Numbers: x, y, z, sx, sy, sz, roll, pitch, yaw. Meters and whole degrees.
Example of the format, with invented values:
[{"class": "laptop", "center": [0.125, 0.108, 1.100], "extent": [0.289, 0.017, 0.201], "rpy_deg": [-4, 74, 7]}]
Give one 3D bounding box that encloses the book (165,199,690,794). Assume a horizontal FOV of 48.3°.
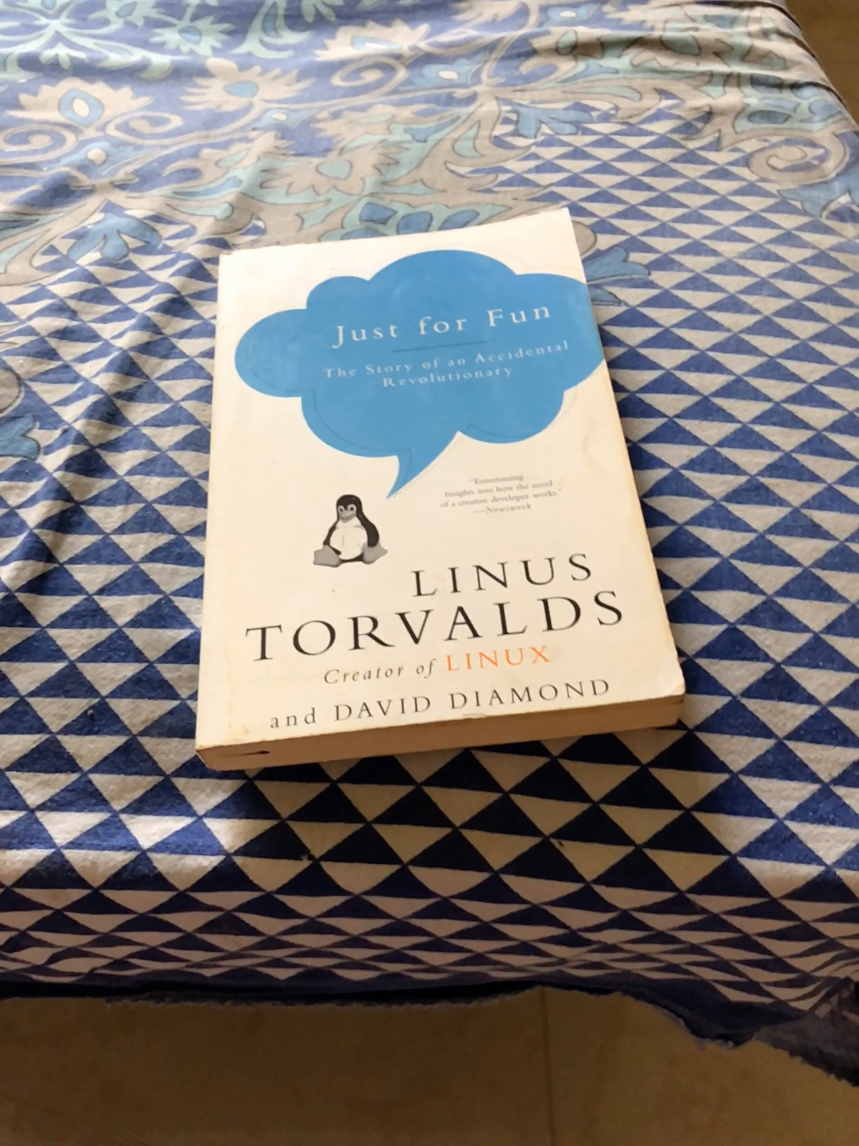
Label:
[{"class": "book", "center": [-0.009, -0.039, 0.323], "extent": [0.140, 0.030, 0.210], "rpy_deg": [-6, 58, 0]}]
